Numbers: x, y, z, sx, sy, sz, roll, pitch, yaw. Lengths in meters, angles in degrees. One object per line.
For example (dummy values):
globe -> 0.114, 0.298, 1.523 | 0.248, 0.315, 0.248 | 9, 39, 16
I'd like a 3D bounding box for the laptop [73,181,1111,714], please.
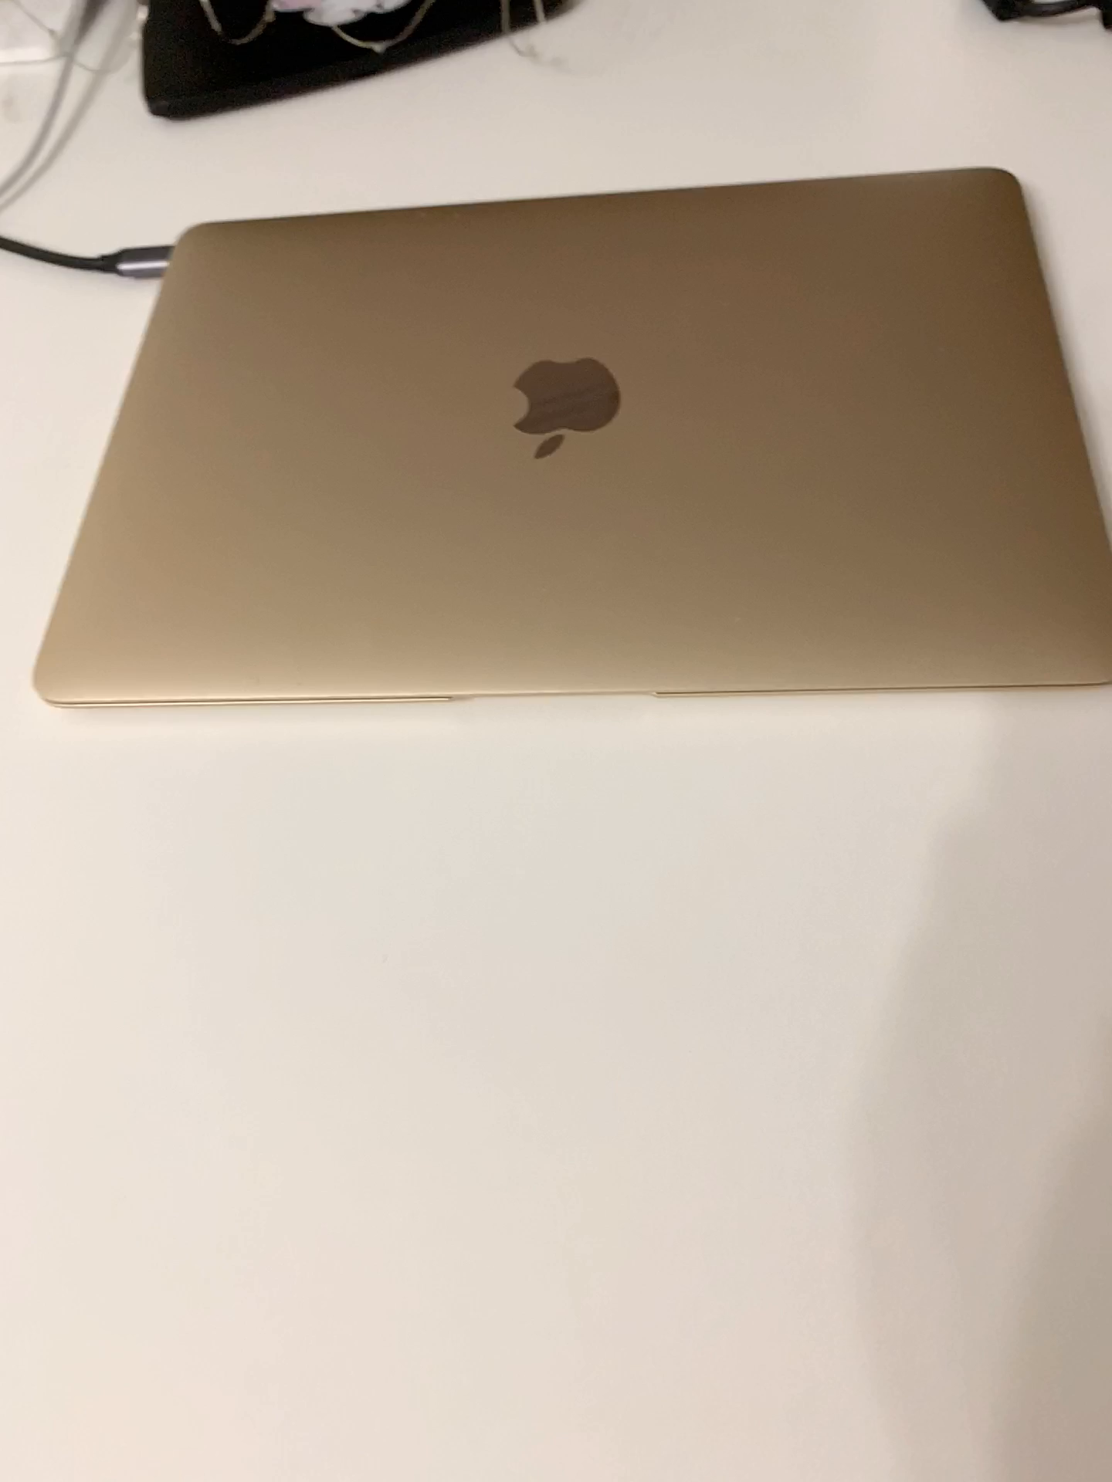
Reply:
laptop -> 0.010, -0.088, 0.323 | 0.255, 0.013, 0.174 | -1, 61, 5
